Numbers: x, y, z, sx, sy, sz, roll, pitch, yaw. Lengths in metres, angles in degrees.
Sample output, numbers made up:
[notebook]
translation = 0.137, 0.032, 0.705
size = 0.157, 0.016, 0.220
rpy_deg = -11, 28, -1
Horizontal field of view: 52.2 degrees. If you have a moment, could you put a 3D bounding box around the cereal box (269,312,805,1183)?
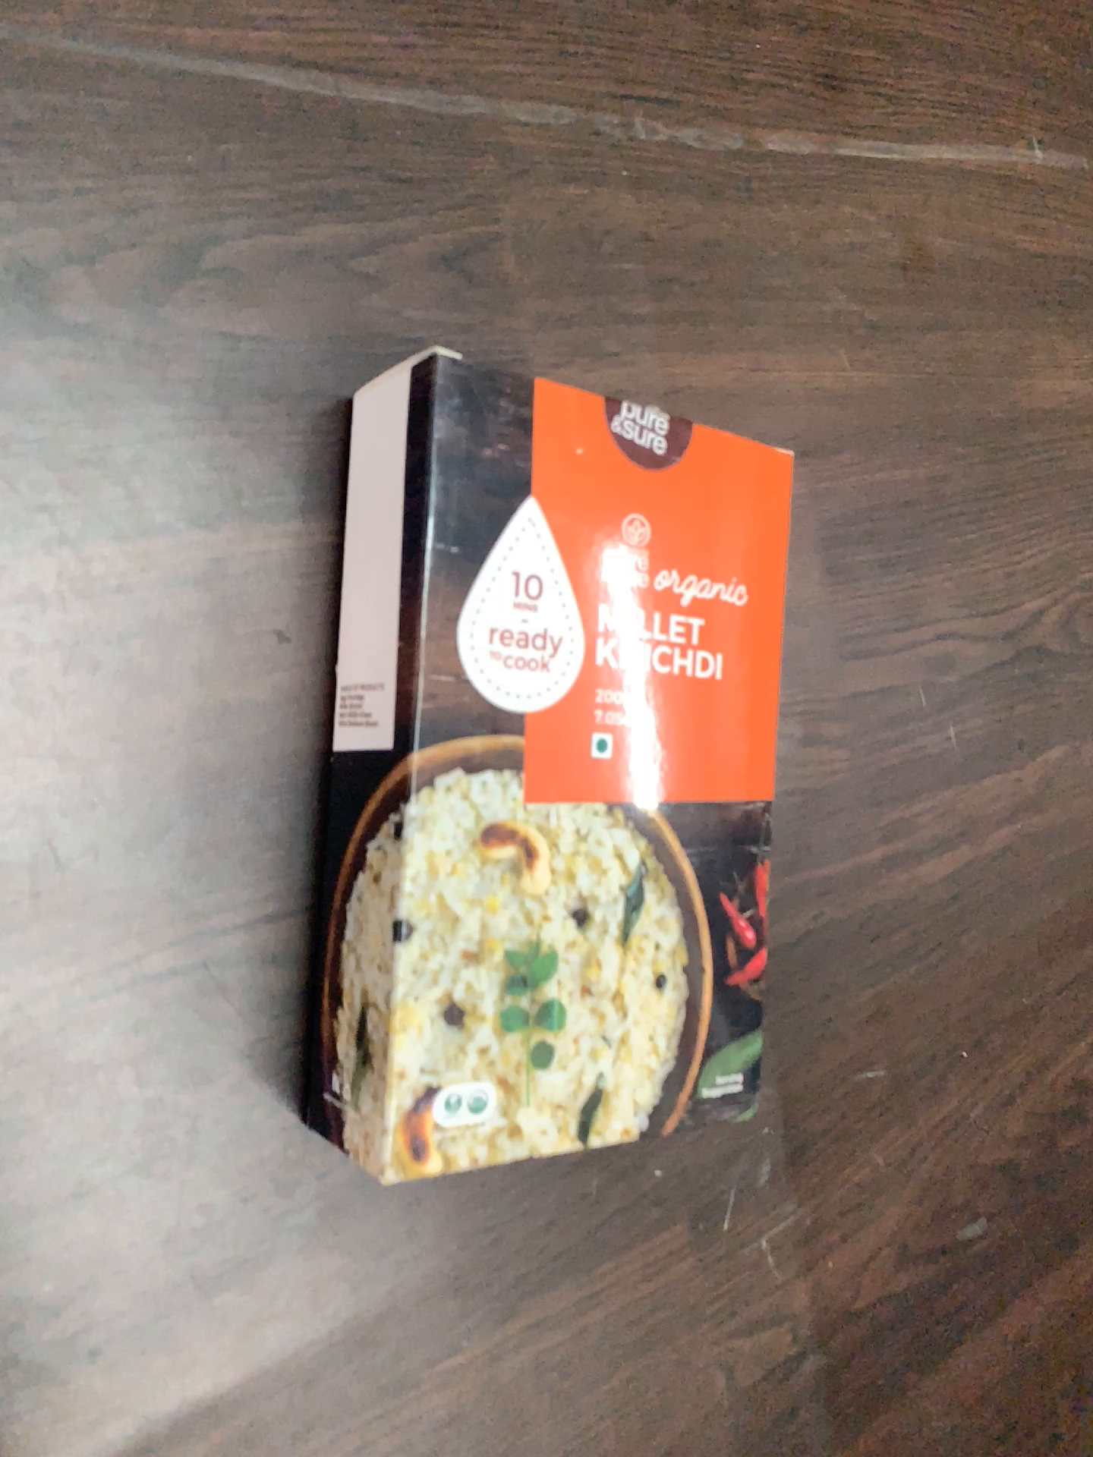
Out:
[cereal box]
translation = 0.002, 0.006, 0.252
size = 0.110, 0.040, 0.160
rpy_deg = 4, 88, -34
